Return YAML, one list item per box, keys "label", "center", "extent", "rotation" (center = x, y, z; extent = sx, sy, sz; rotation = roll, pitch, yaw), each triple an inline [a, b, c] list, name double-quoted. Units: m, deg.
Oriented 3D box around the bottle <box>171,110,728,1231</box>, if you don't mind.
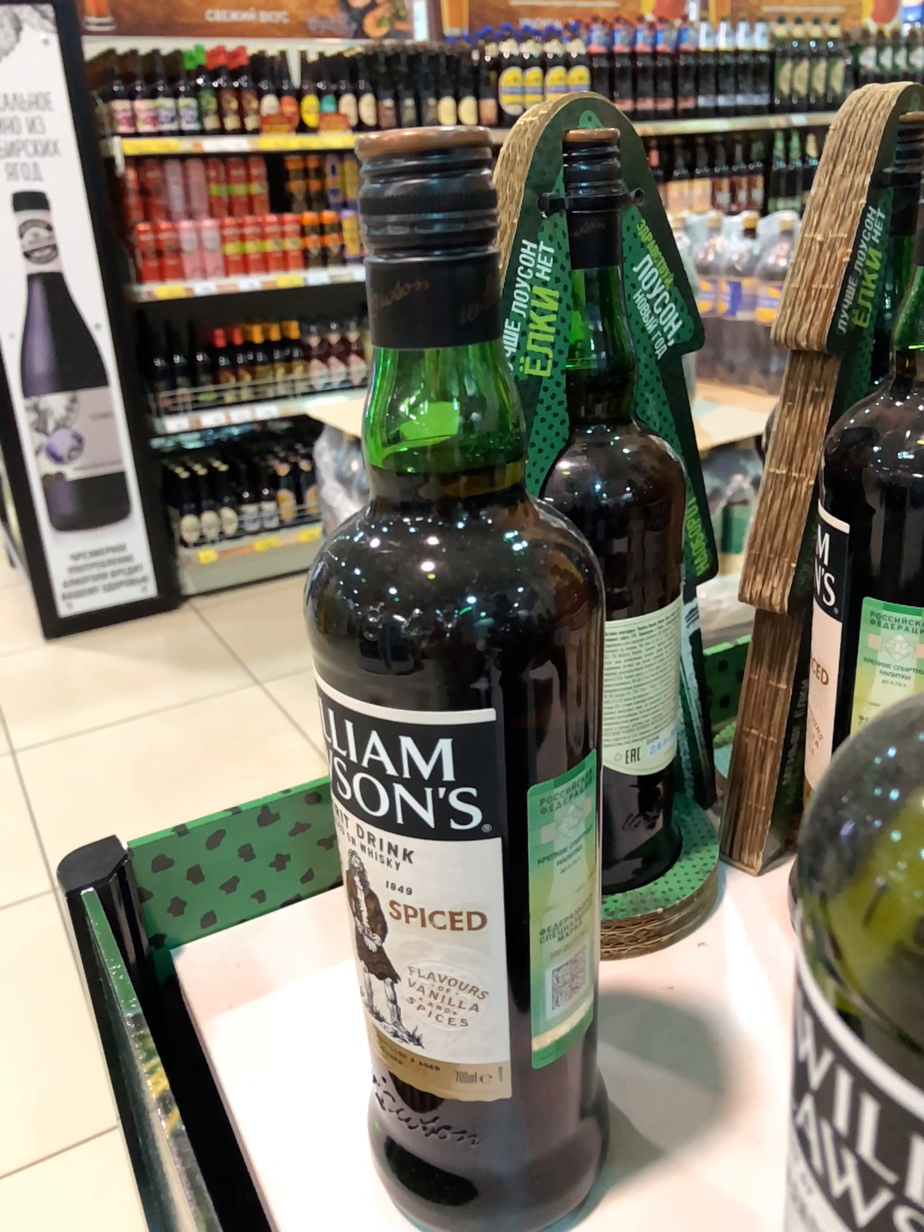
- label: "bottle"
  center: [0.004, 0.033, 0.276]
  extent: [0.090, 0.298, 0.080]
  rotation: [-19, 27, -32]
